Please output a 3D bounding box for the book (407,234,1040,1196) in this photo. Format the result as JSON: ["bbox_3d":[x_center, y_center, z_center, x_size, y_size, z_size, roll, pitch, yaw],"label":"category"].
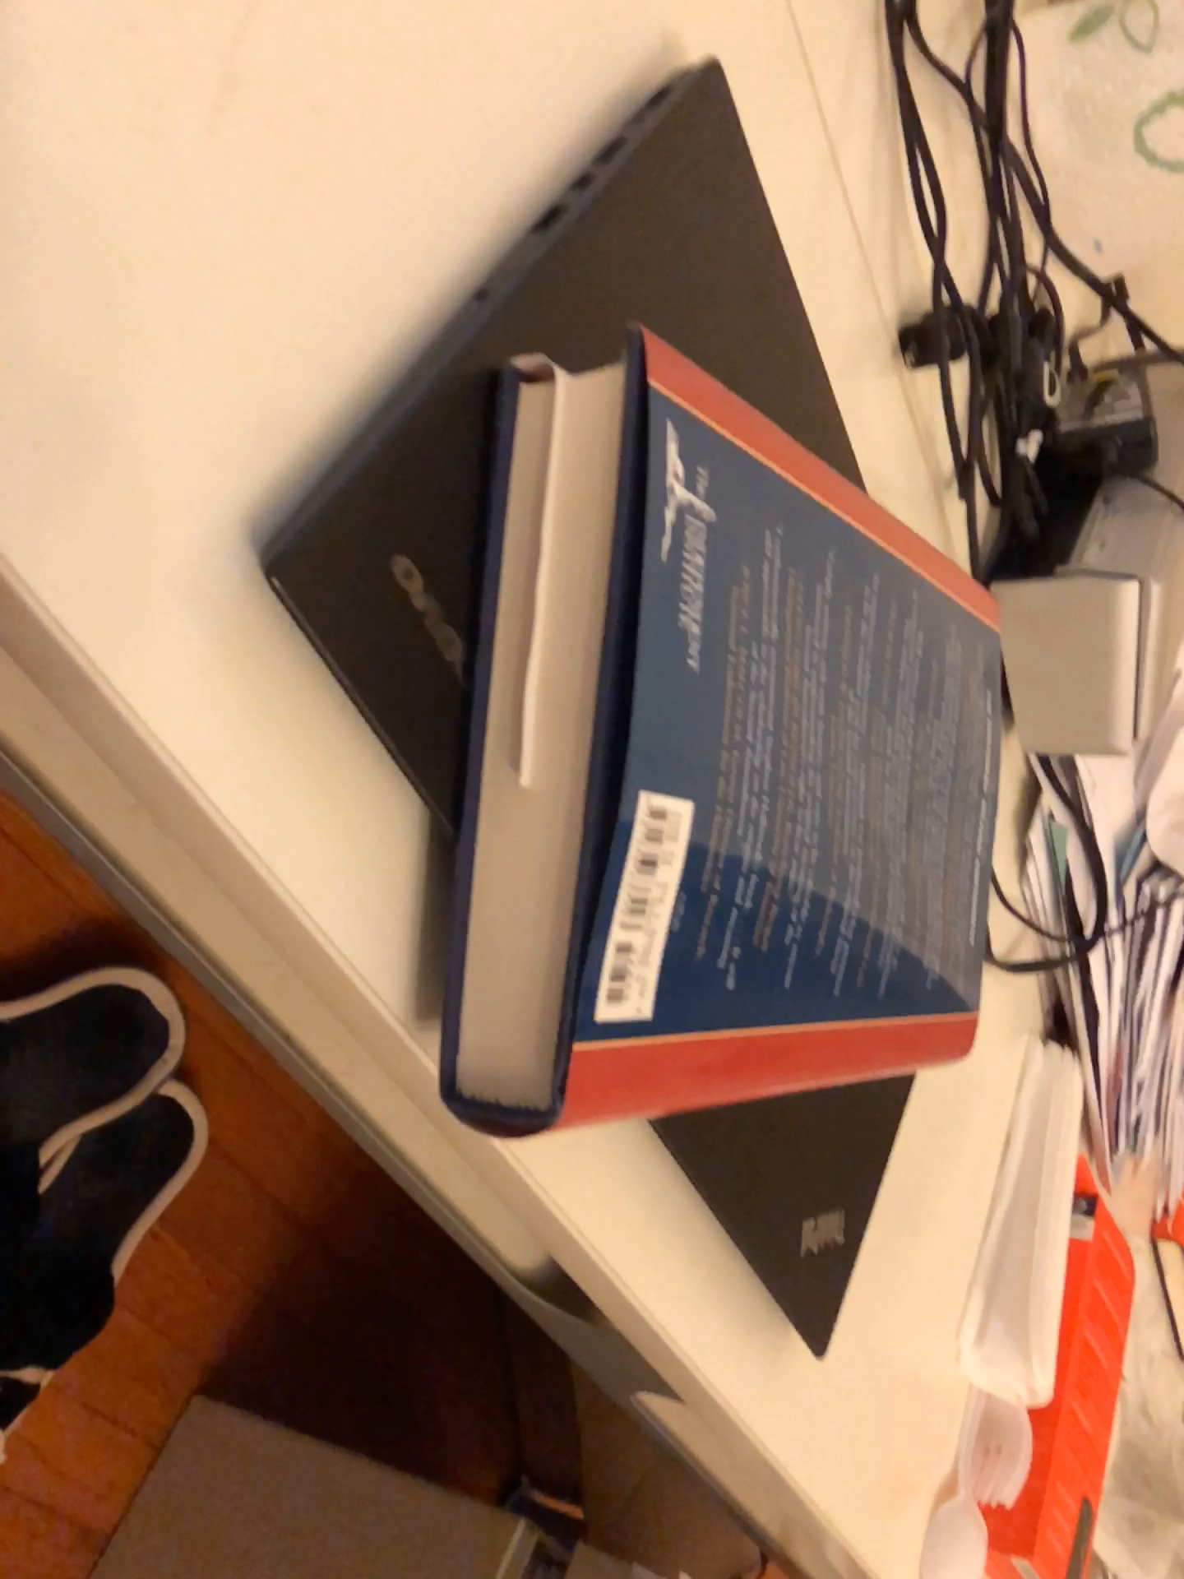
[{"bbox_3d":[0.057,-0.002,0.336,0.241,0.040,0.170,11,80,-53],"label":"book"}]
